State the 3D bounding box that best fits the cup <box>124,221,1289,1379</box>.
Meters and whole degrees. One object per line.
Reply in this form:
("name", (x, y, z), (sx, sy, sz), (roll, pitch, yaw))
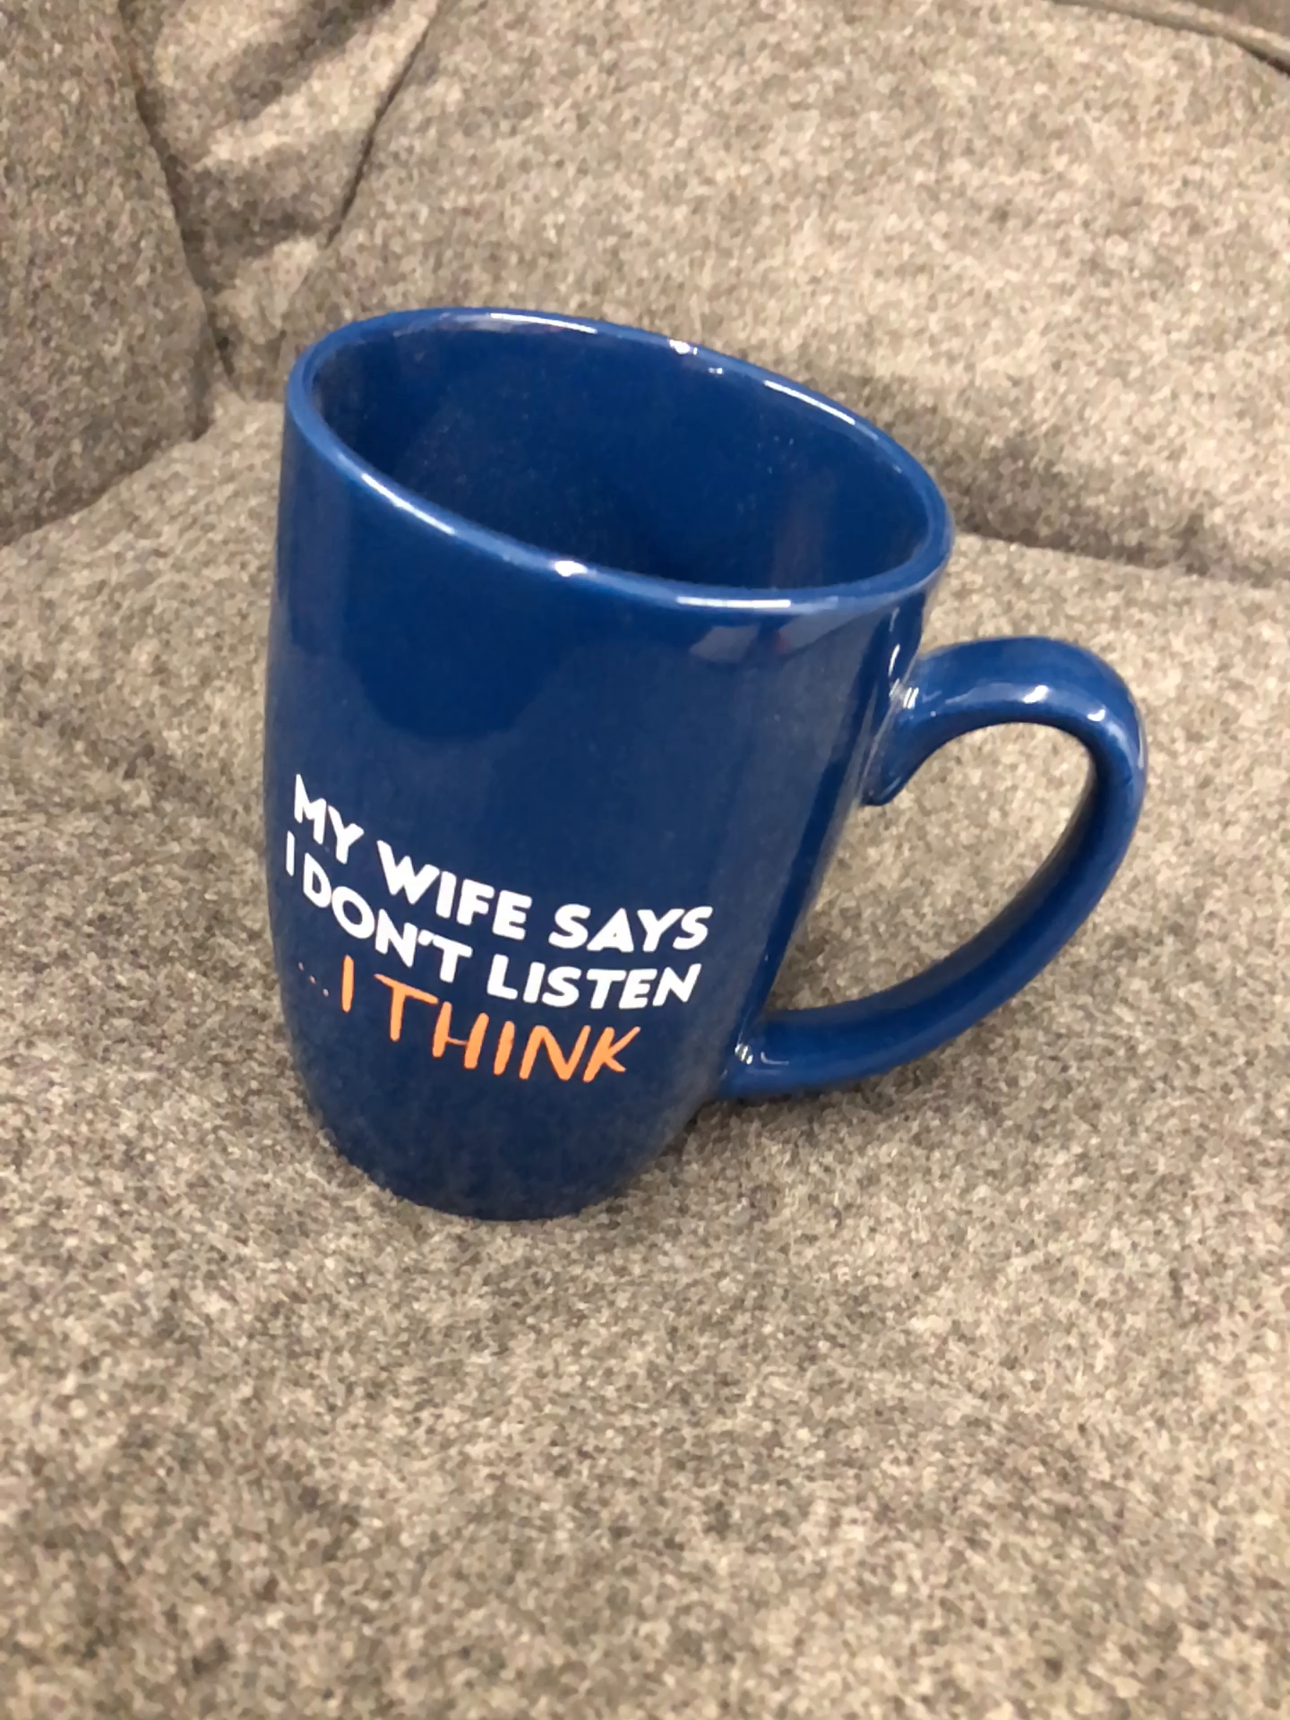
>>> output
("cup", (0.010, -0.013, 0.215), (0.130, 0.109, 0.091), (18, 39, 9))
